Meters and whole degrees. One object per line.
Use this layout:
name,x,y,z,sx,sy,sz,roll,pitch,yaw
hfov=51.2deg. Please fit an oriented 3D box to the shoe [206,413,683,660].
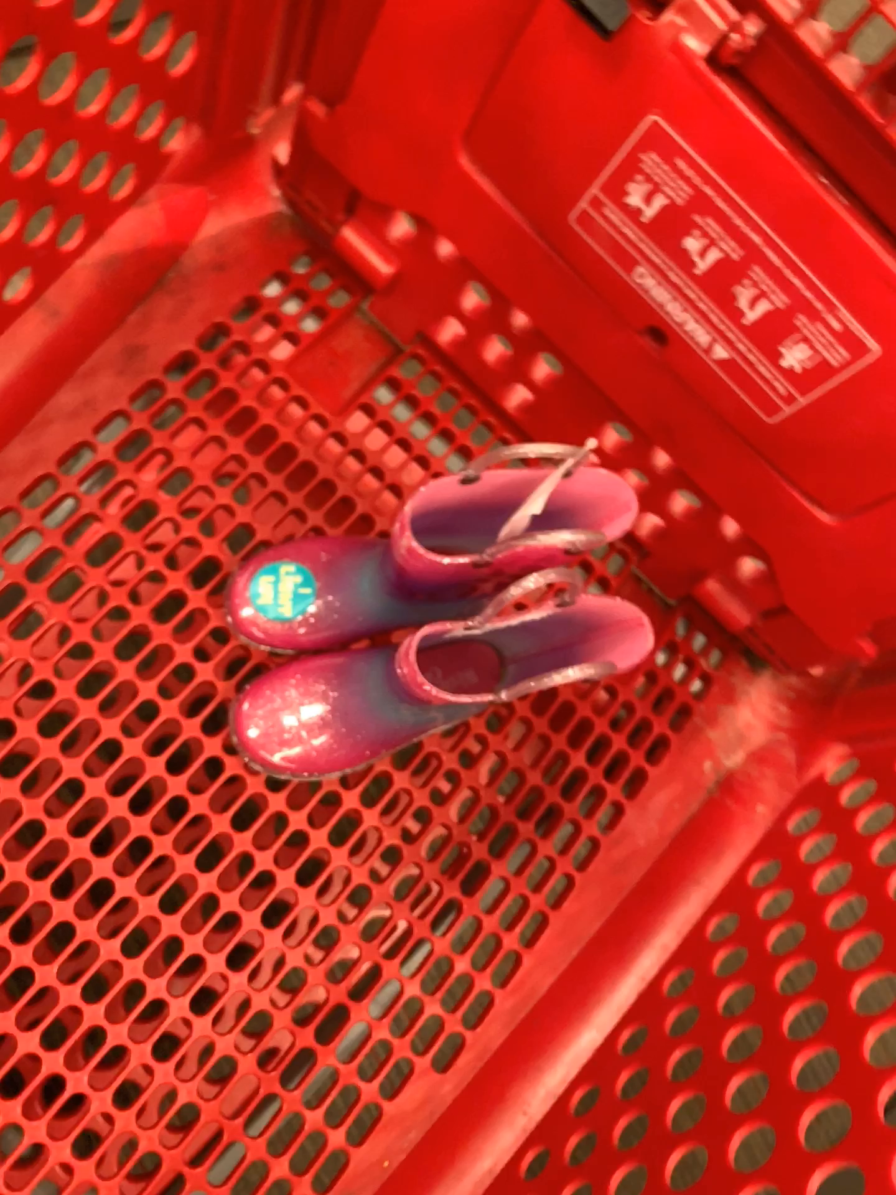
shoe,-0.012,-0.026,0.468,0.200,0.140,0.070,-9,84,-16

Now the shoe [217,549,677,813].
shoe,-0.011,0.042,0.469,0.190,0.140,0.070,-13,85,-17
